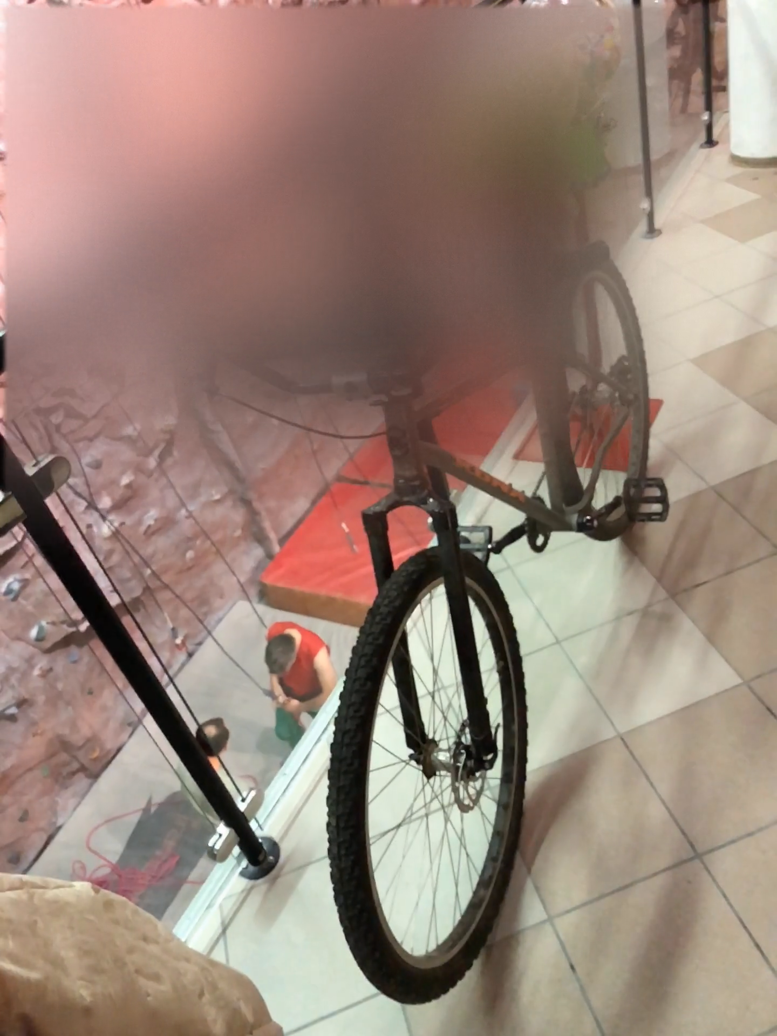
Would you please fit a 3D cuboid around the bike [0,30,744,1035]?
[{"bbox_3d":[0.211,-0.133,1.748,0.750,1.099,1.827,4,40,28],"label":"bike"}]
